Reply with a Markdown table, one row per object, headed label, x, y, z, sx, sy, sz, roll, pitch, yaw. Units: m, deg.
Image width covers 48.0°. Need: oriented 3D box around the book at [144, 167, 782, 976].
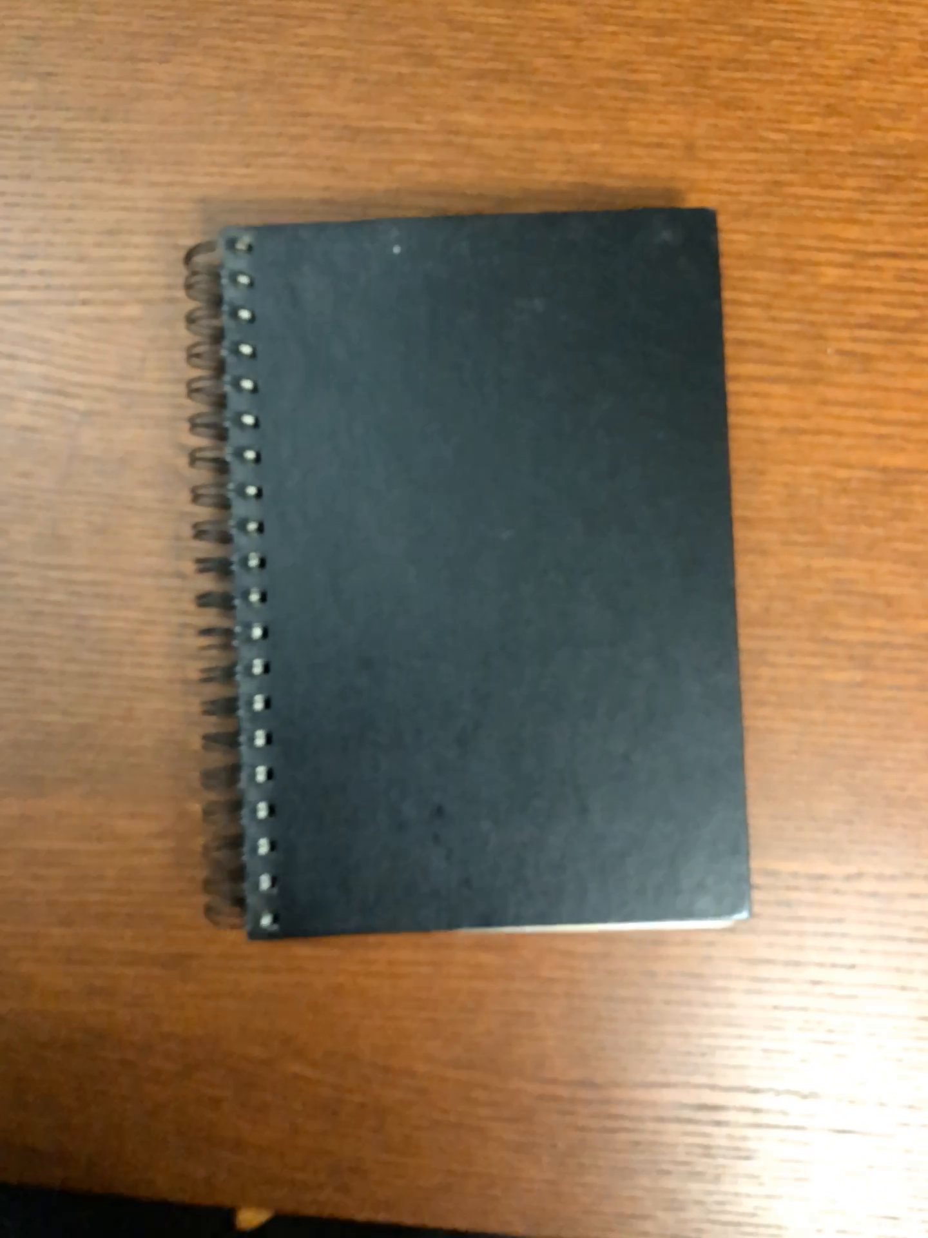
| label | x | y | z | sx | sy | sz | roll | pitch | yaw |
| --- | --- | --- | --- | --- | --- | --- | --- | --- | --- |
| book | -0.002 | -0.016 | 0.363 | 0.200 | 0.030 | 0.260 | -3 | 88 | 1 |
